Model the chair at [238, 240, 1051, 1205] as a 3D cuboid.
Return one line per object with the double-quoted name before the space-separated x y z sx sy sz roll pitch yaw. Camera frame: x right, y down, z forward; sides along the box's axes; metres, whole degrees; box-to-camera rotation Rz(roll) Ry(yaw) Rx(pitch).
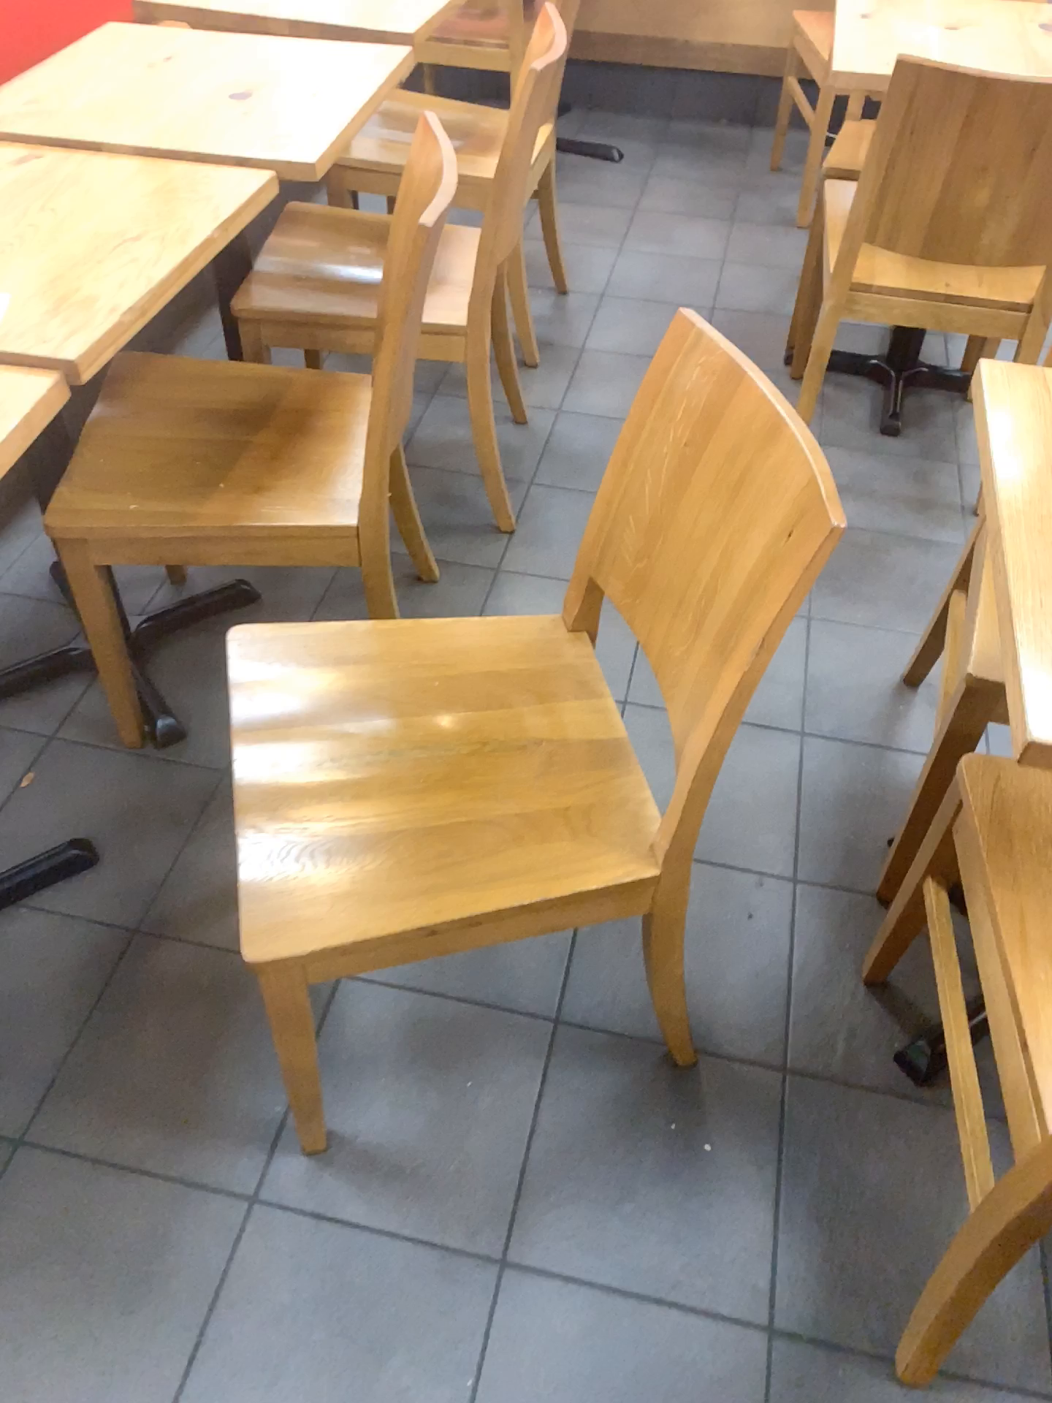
"chair" 0.053 0.052 1.172 0.610 0.891 0.515 -6 46 -13
